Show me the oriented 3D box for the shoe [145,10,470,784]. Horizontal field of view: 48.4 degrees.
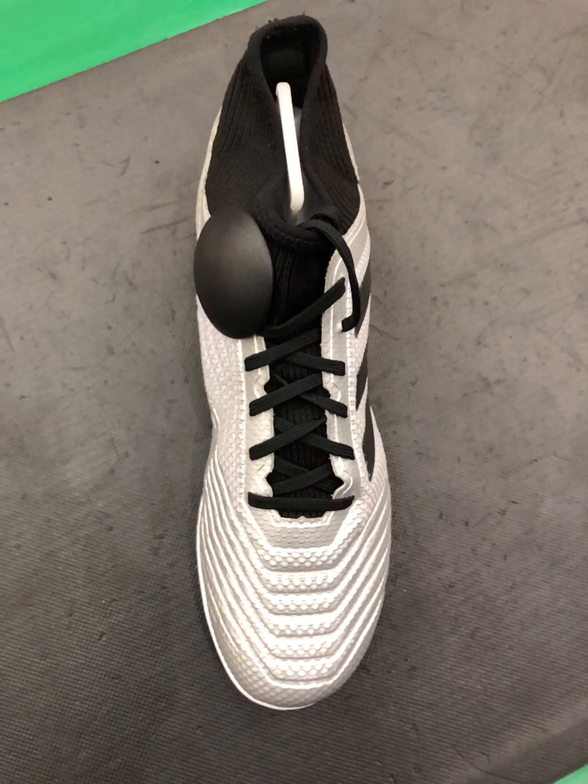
[{"bbox_3d":[-0.004,0.004,0.273,0.090,0.140,0.250,-2,80,-4],"label":"shoe"}]
